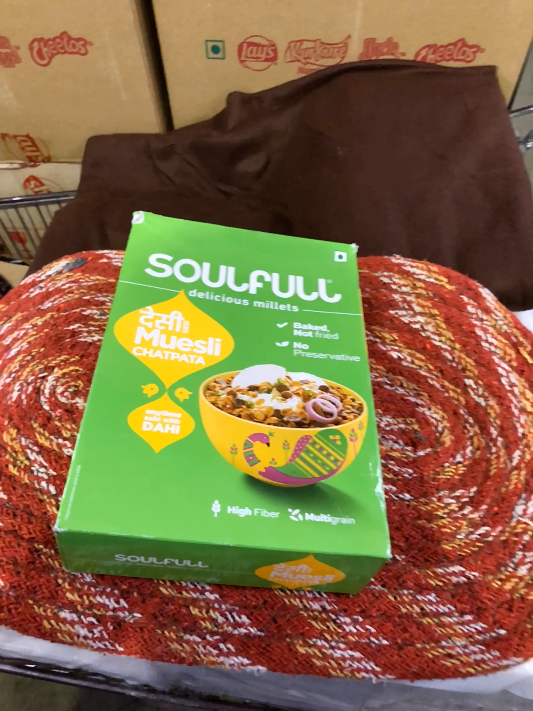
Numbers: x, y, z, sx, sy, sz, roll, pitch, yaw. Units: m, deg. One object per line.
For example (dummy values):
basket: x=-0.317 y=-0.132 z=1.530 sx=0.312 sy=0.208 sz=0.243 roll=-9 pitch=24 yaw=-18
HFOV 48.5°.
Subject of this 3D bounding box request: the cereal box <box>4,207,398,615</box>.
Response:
cereal box: x=-0.027 y=0.016 z=0.358 sx=0.170 sy=0.060 sz=0.241 roll=7 pitch=47 yaw=-5
